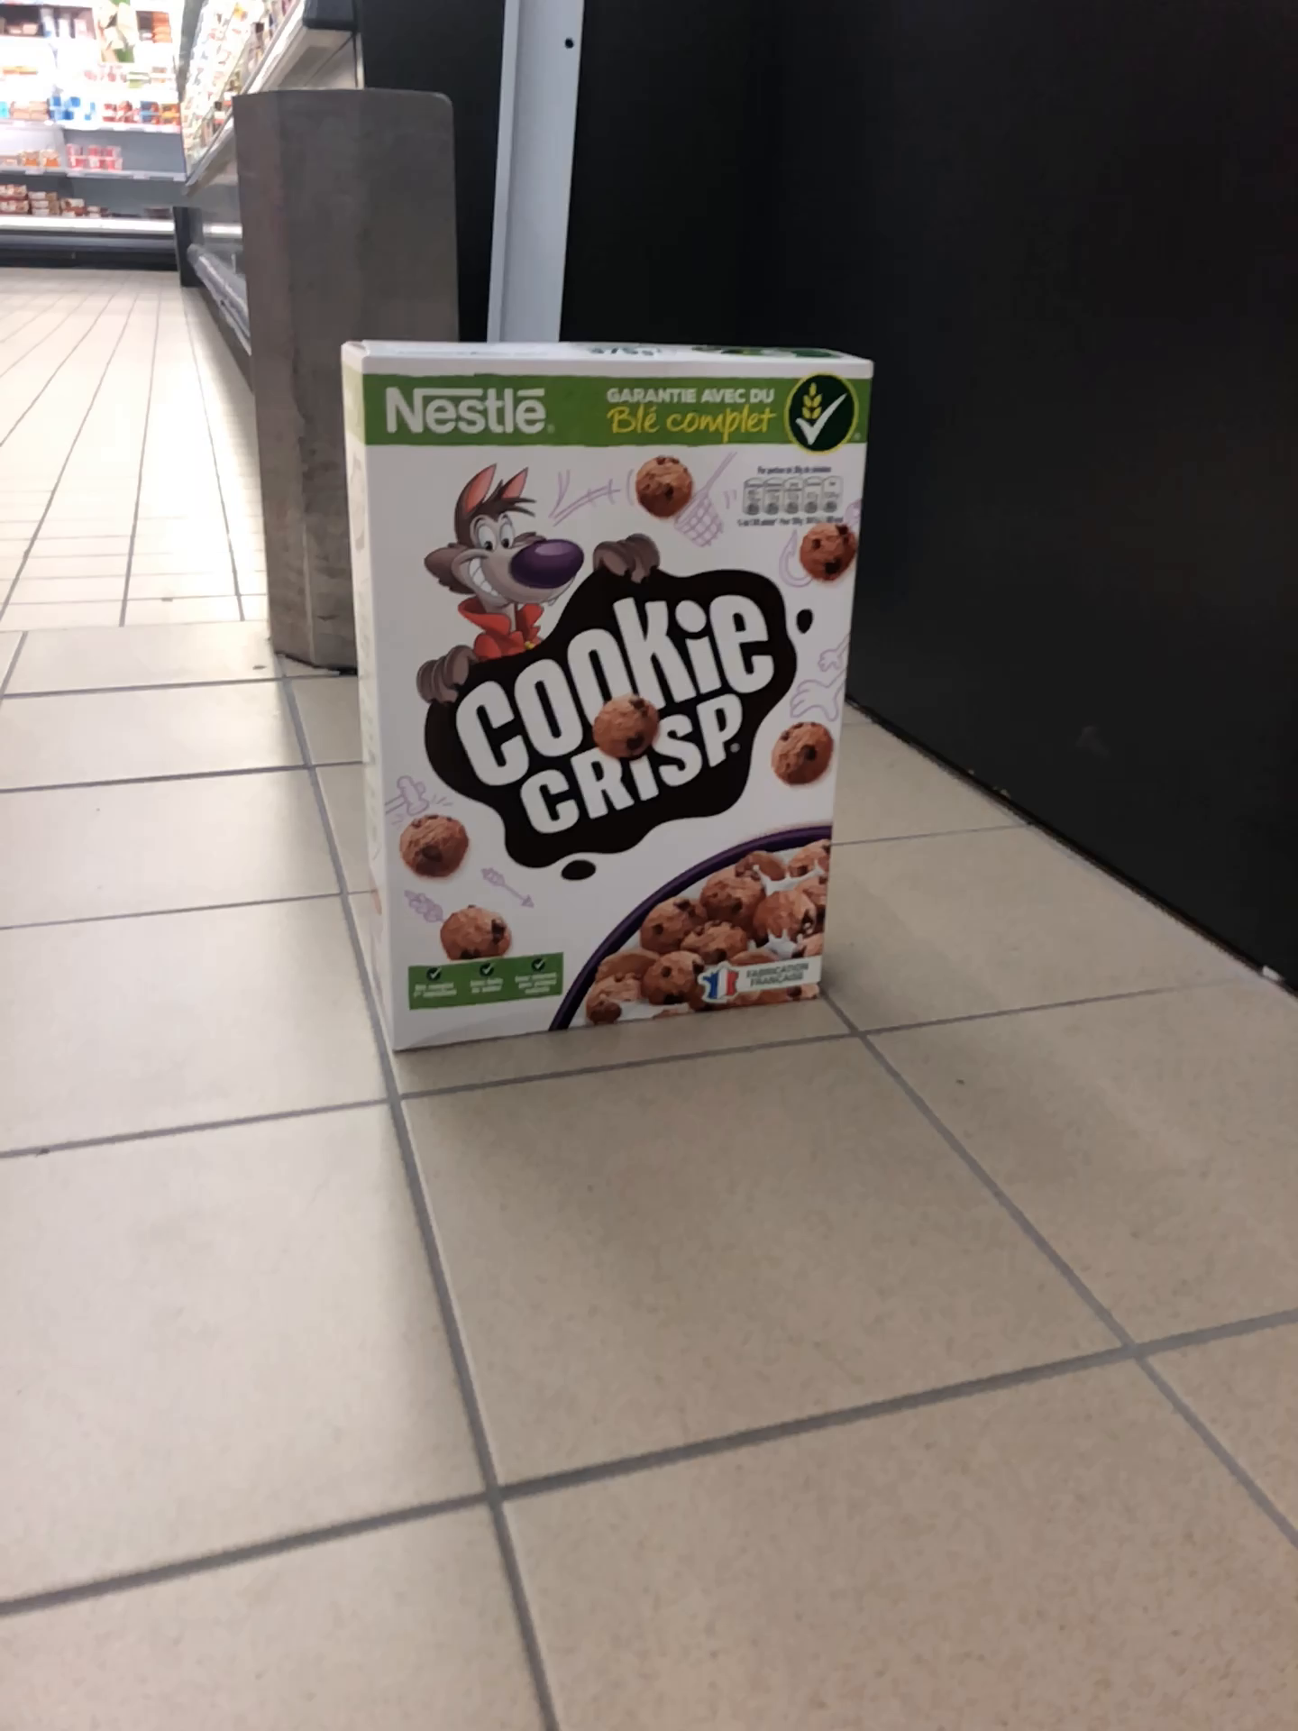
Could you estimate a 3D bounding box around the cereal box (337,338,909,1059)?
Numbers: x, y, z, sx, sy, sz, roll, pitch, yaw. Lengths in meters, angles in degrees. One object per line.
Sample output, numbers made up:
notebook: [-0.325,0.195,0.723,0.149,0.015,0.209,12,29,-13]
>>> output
cereal box: [-0.012,-0.067,0.570,0.200,0.269,0.060,-6,24,-16]
